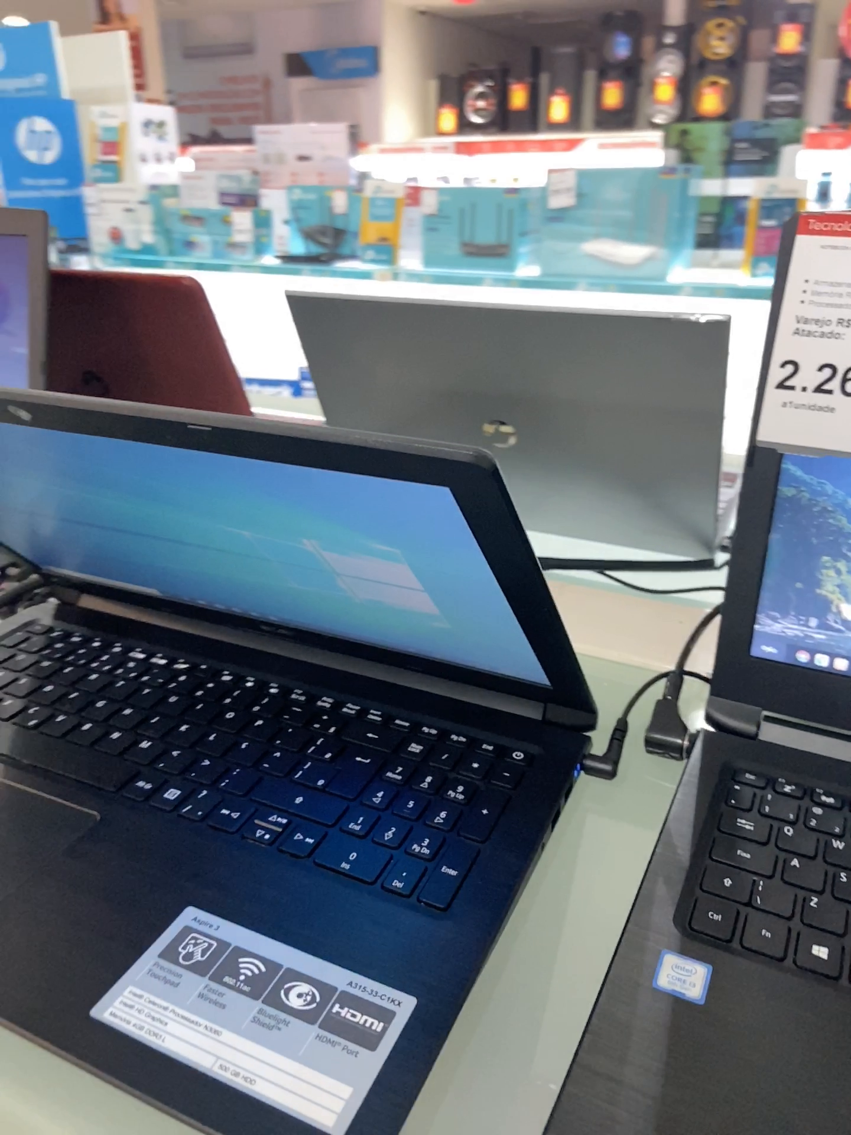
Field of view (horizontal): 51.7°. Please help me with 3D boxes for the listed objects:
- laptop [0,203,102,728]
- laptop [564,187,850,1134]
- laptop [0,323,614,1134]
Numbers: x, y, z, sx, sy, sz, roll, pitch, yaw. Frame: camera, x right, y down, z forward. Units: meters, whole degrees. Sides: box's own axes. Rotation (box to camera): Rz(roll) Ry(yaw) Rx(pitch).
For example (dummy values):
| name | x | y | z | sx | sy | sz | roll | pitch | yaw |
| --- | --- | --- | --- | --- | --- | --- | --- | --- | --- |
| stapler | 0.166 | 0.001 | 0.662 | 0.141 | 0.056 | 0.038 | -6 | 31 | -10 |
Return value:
| name | x | y | z | sx | sy | sz | roll | pitch | yaw |
| --- | --- | --- | --- | --- | --- | --- | --- | --- | --- |
| laptop | -0.521 | -0.126 | 0.638 | 0.400 | 0.232 | 0.327 | 12 | 28 | 26 |
| laptop | 0.272 | 0.039 | 0.237 | 0.399 | 0.247 | 0.285 | 11 | 27 | 24 |
| laptop | -0.141 | 0.014 | 0.384 | 0.379 | 0.185 | 0.240 | 10 | 26 | 24 |
